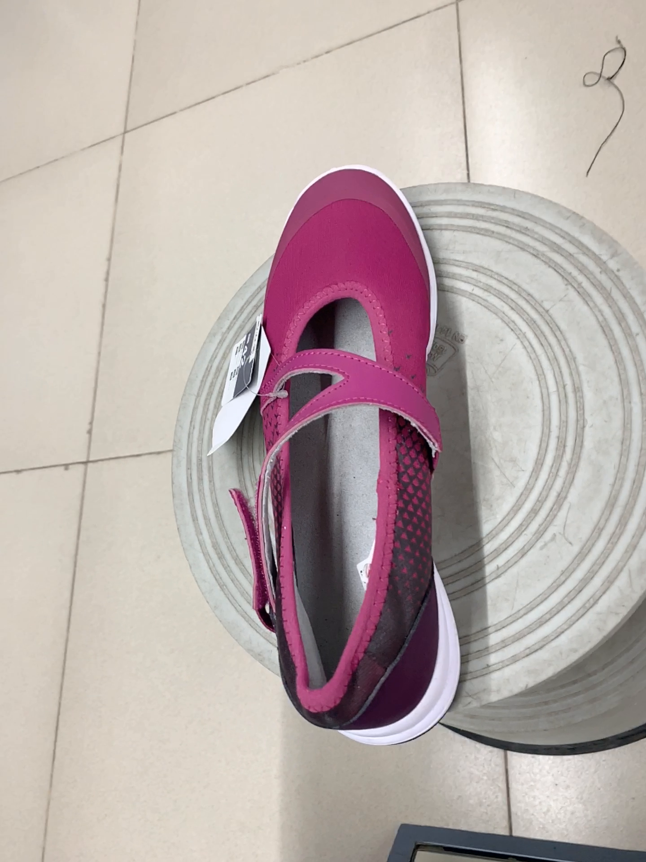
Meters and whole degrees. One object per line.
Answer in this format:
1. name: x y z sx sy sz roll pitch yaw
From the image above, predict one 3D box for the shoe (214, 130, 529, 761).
1. shoe: 0.015 0.004 0.311 0.100 0.070 0.260 -14 69 23
